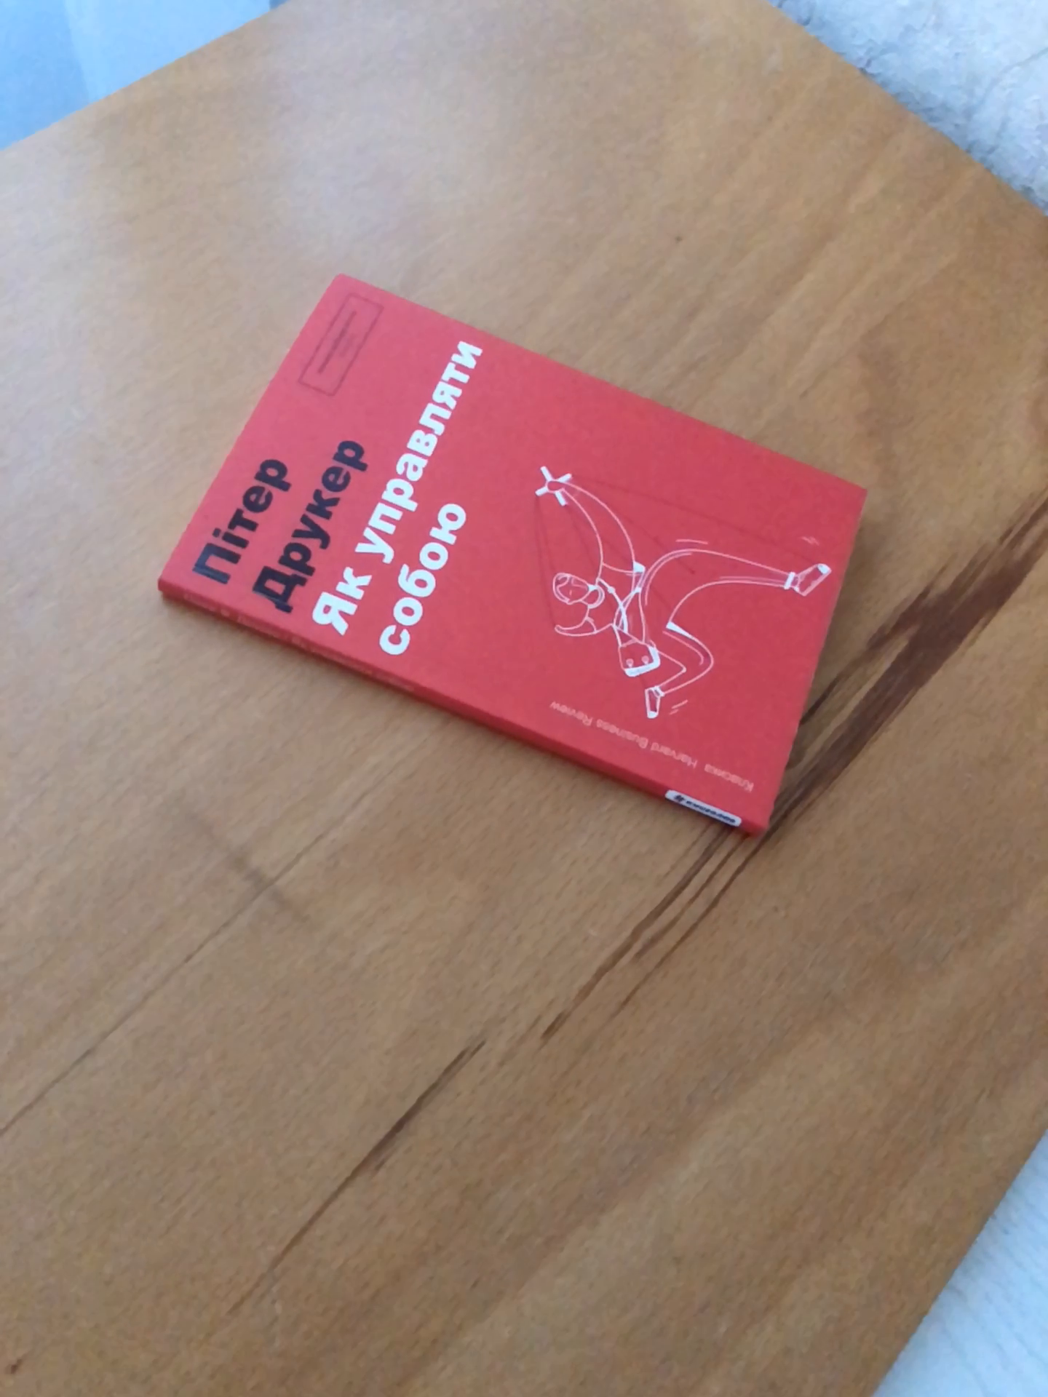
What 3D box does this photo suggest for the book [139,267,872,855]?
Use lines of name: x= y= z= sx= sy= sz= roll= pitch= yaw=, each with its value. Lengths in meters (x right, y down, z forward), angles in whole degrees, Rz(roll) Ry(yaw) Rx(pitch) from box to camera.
book: x=0.001 y=-0.041 z=0.309 sx=0.164 sy=0.013 sz=0.112 roll=22 pitch=66 yaw=1
